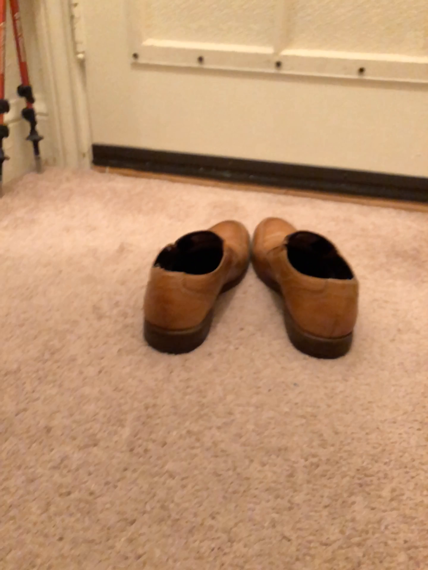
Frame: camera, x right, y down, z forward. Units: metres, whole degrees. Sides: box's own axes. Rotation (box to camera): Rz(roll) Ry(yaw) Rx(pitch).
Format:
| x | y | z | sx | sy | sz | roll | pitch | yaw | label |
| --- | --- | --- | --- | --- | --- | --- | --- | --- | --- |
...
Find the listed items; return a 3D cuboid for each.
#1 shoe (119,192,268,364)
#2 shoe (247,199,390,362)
| x | y | z | sx | sy | sz | roll | pitch | yaw | label |
| --- | --- | --- | --- | --- | --- | --- | --- | --- | --- |
| -0.009 | -0.033 | 0.641 | 0.100 | 0.089 | 0.322 | 10 | 28 | 13 | shoe |
| 0.118 | -0.027 | 0.646 | 0.107 | 0.089 | 0.312 | 0 | 27 | -3 | shoe |
